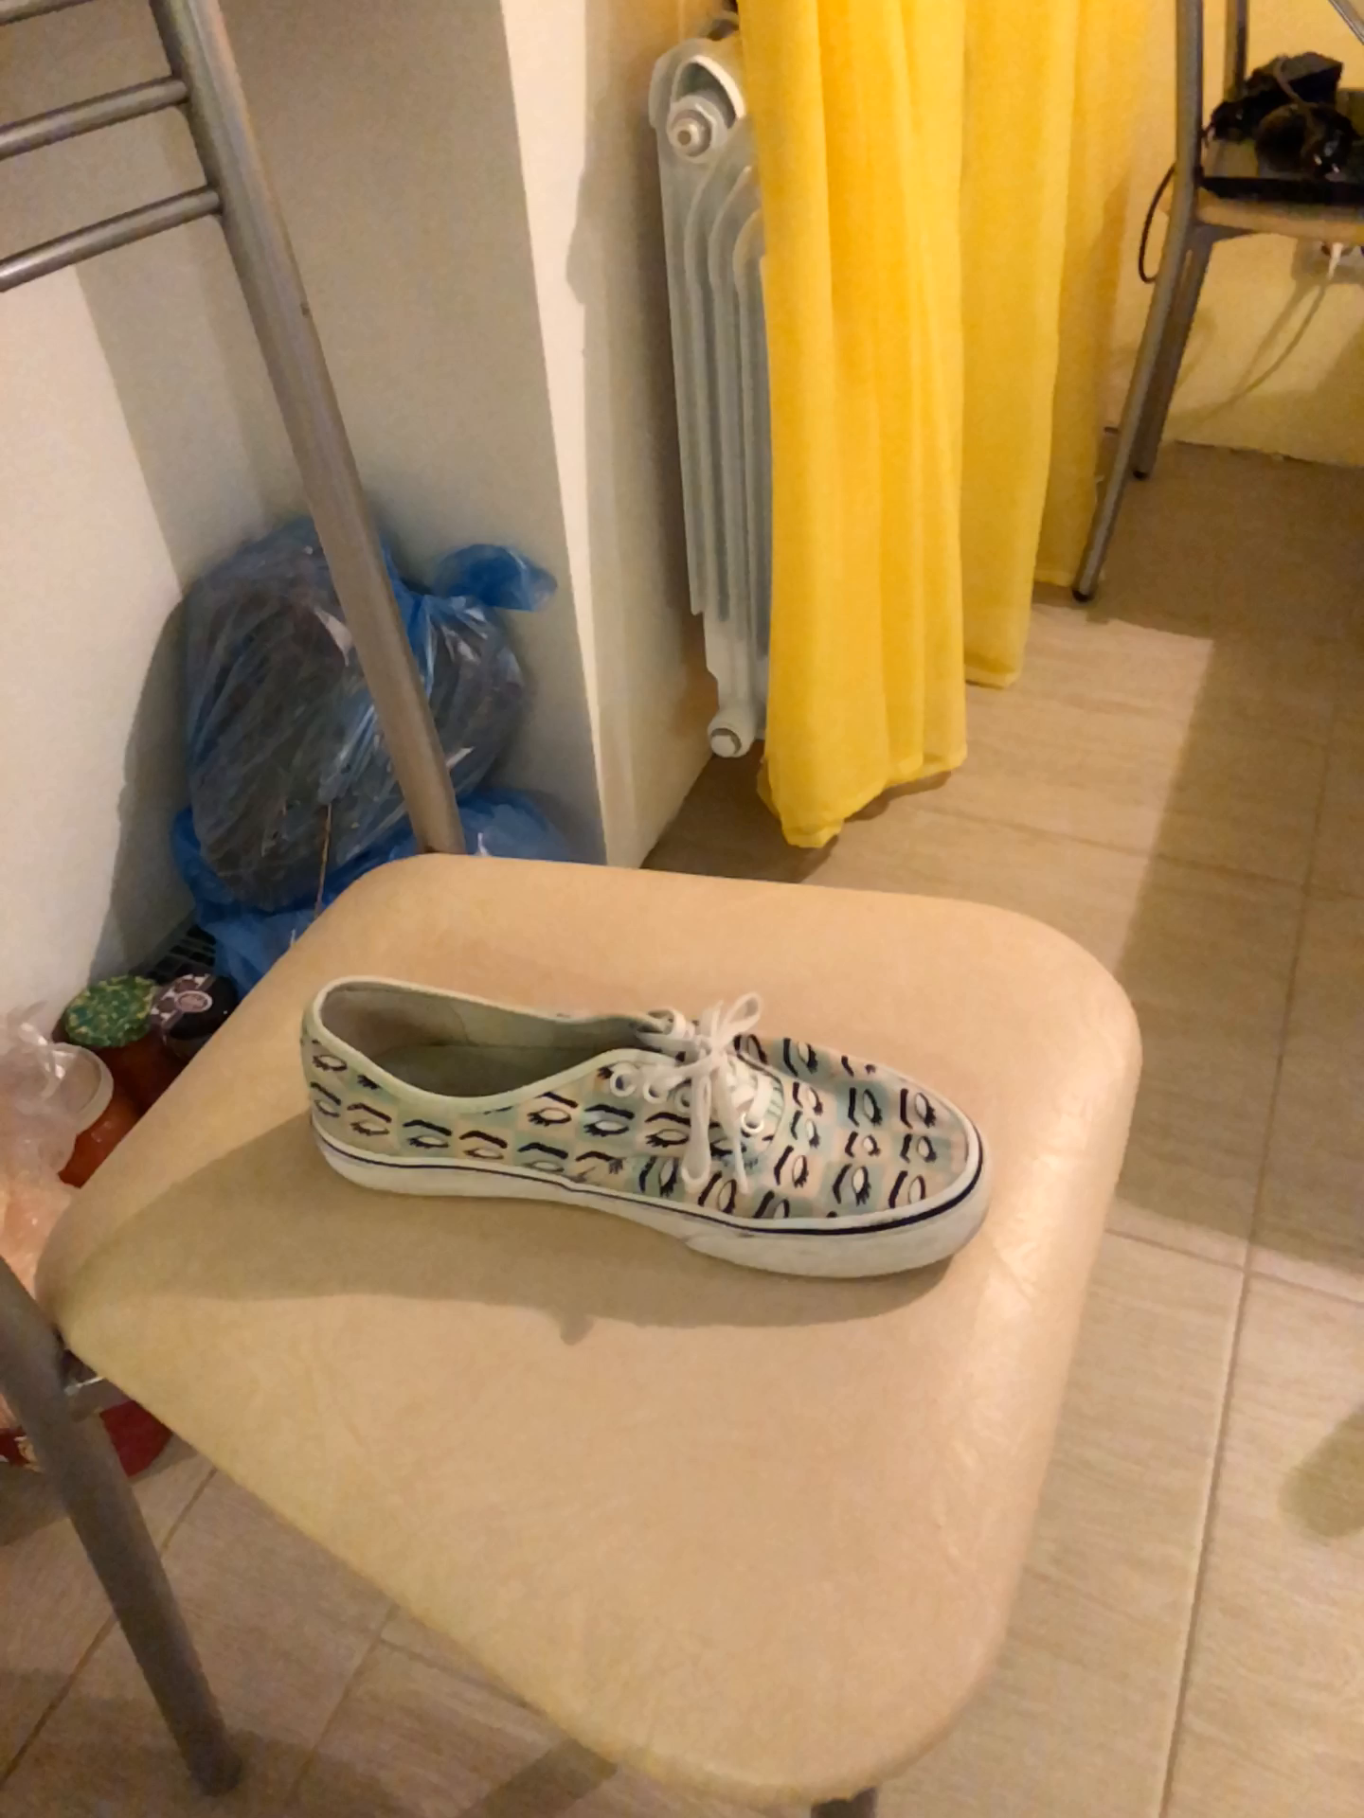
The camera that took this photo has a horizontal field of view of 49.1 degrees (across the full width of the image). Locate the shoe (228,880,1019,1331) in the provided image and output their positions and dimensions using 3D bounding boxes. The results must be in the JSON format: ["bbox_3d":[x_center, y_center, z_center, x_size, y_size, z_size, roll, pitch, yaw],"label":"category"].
[{"bbox_3d":[-0.015,0.065,0.549,0.260,0.068,0.111,7,42,12],"label":"shoe"}]
